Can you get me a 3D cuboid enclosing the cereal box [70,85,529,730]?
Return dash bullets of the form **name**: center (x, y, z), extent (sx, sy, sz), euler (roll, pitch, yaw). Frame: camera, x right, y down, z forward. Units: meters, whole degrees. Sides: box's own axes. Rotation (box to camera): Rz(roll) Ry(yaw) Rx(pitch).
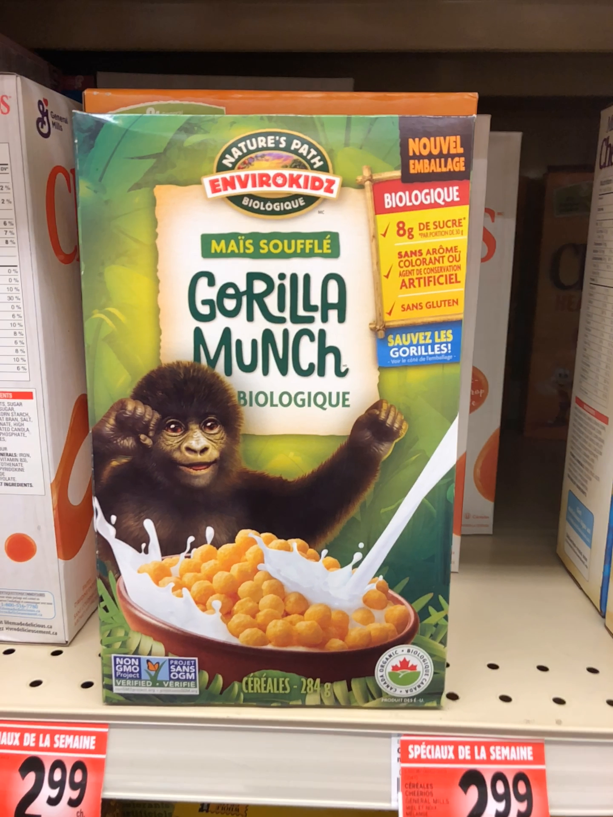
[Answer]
- **cereal box**: center (-0.003, 0.006, 0.295), extent (0.160, 0.259, 0.060), euler (1, 13, 0)
